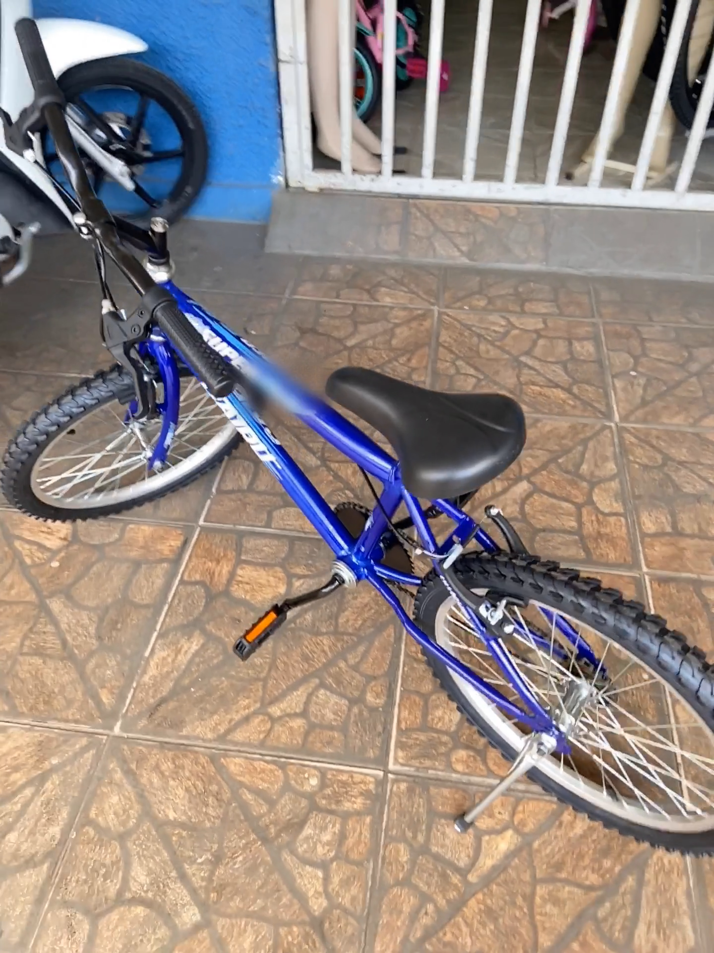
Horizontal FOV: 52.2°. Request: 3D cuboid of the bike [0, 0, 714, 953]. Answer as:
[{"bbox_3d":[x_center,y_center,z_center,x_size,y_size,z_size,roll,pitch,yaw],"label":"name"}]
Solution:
[{"bbox_3d":[-0.024,0.036,0.873,1.183,0.949,0.546,23,47,21],"label":"bike"}]
